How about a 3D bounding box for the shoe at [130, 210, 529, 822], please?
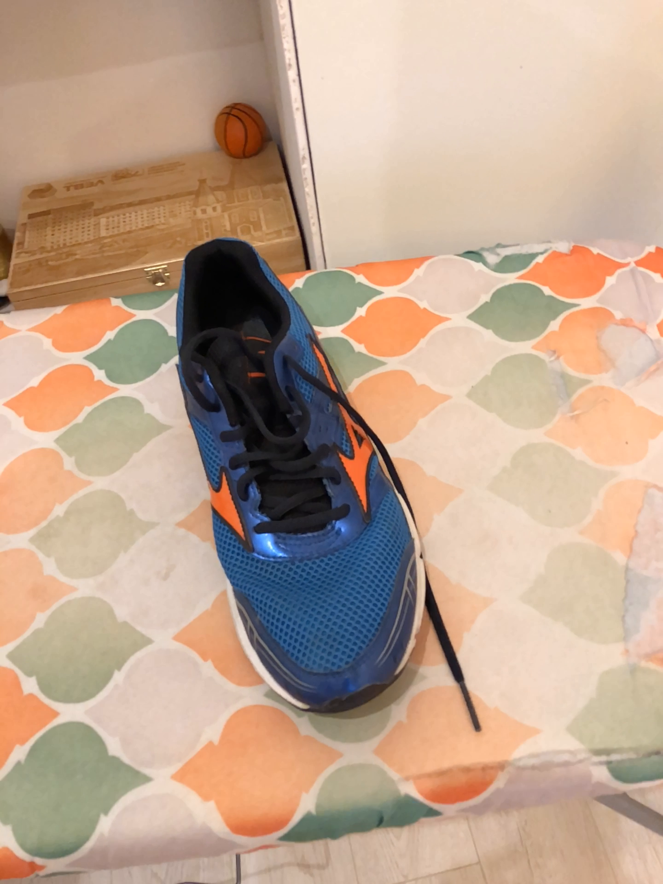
[{"bbox_3d":[-0.020,0.019,0.409,0.120,0.109,0.312,-16,53,-5],"label":"shoe"}]
